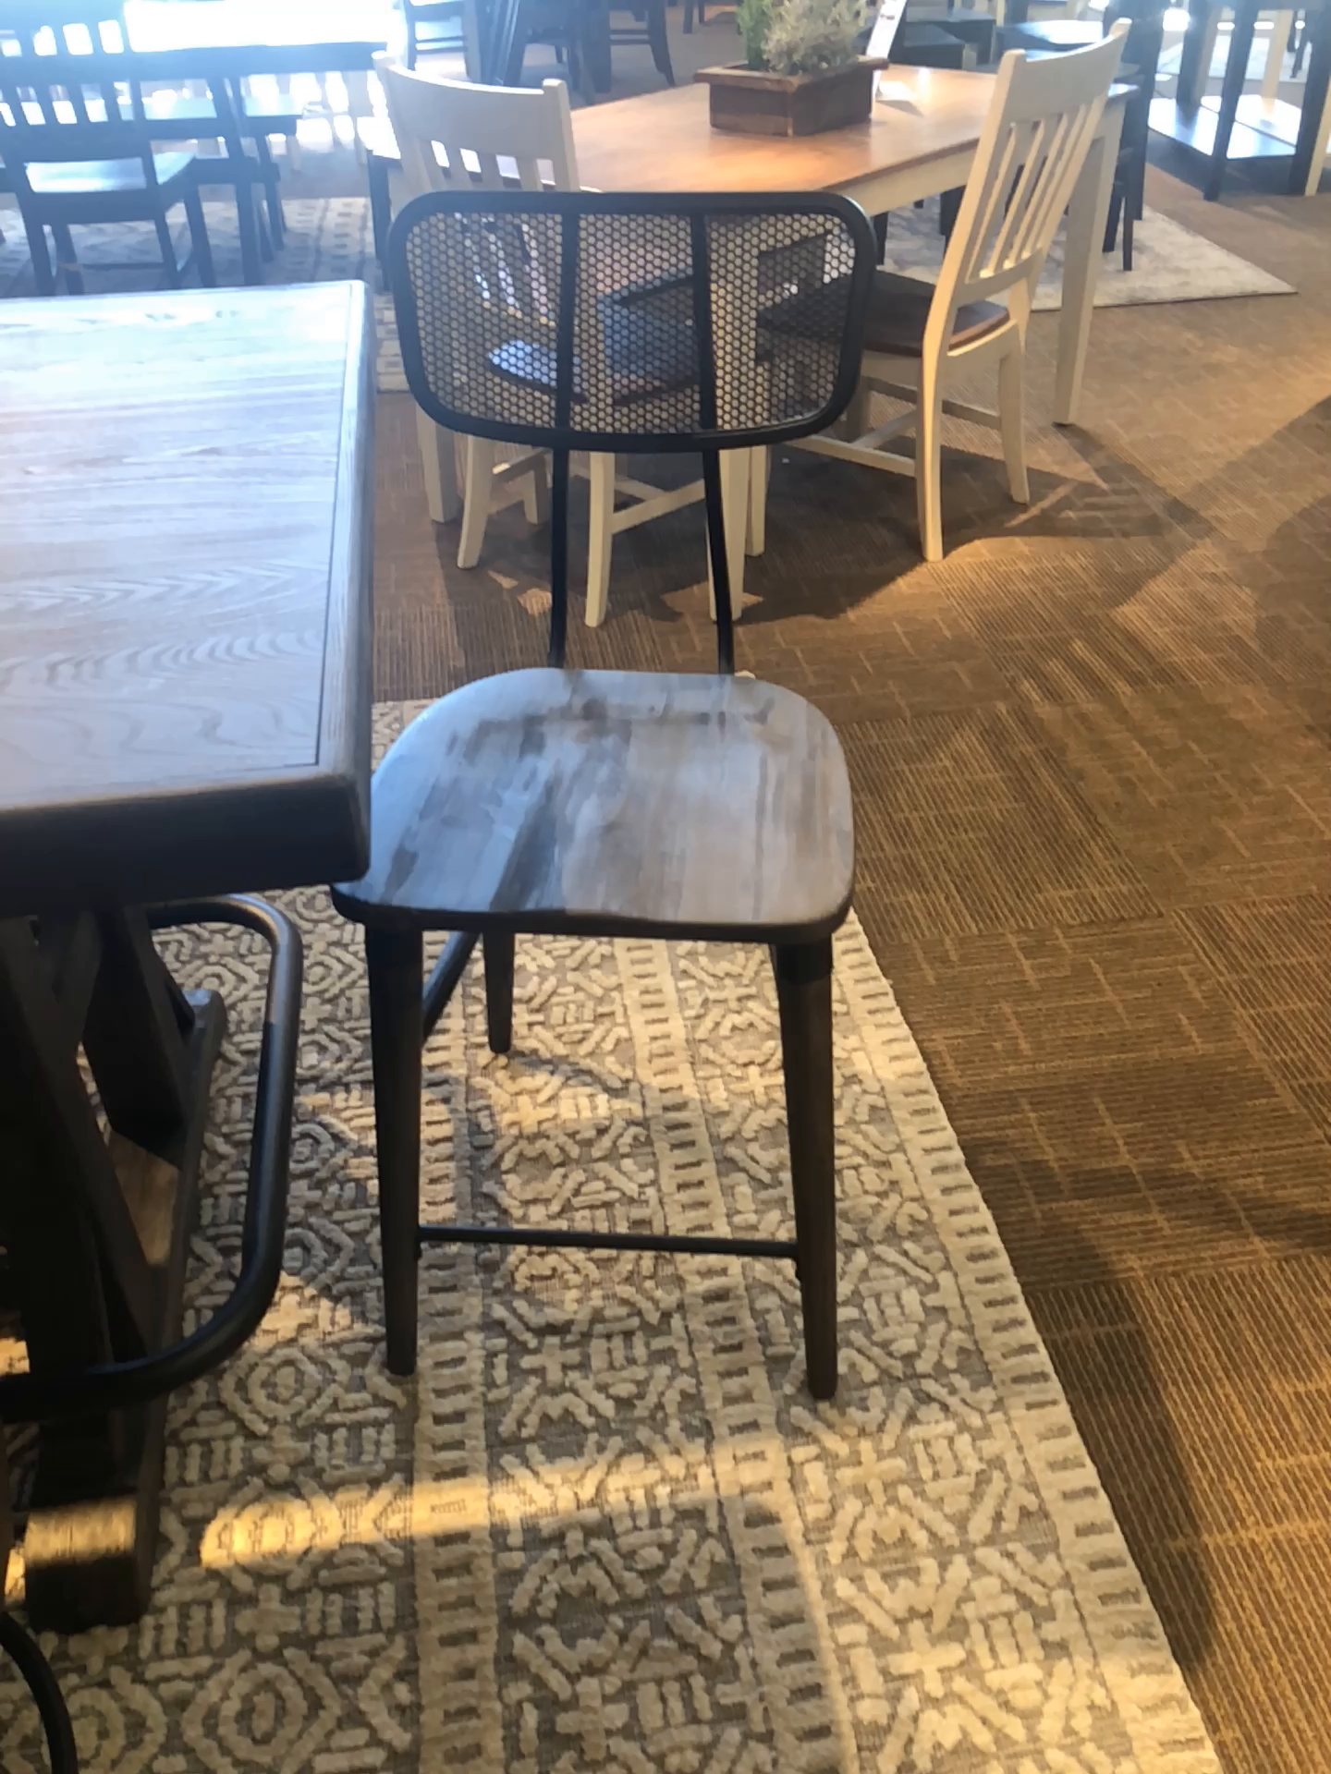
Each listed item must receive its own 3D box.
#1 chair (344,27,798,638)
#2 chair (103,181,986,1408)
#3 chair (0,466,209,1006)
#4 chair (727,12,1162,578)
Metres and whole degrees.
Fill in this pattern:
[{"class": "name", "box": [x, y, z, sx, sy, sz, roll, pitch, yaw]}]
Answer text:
[{"class": "chair", "box": [-0.152, -1.010, 2.619, 0.555, 0.866, 0.491, 28, 45, 33]}, {"class": "chair", "box": [-0.050, -0.077, 1.350, 0.507, 0.947, 0.607, 2, 36, 3]}, {"class": "chair", "box": [-1.021, -0.211, 1.897, 0.634, 0.488, 0.522, -2, 36, -1]}, {"class": "chair", "box": [0.509, -1.157, 2.802, 0.520, 0.846, 0.586, 25, 43, 31]}]
